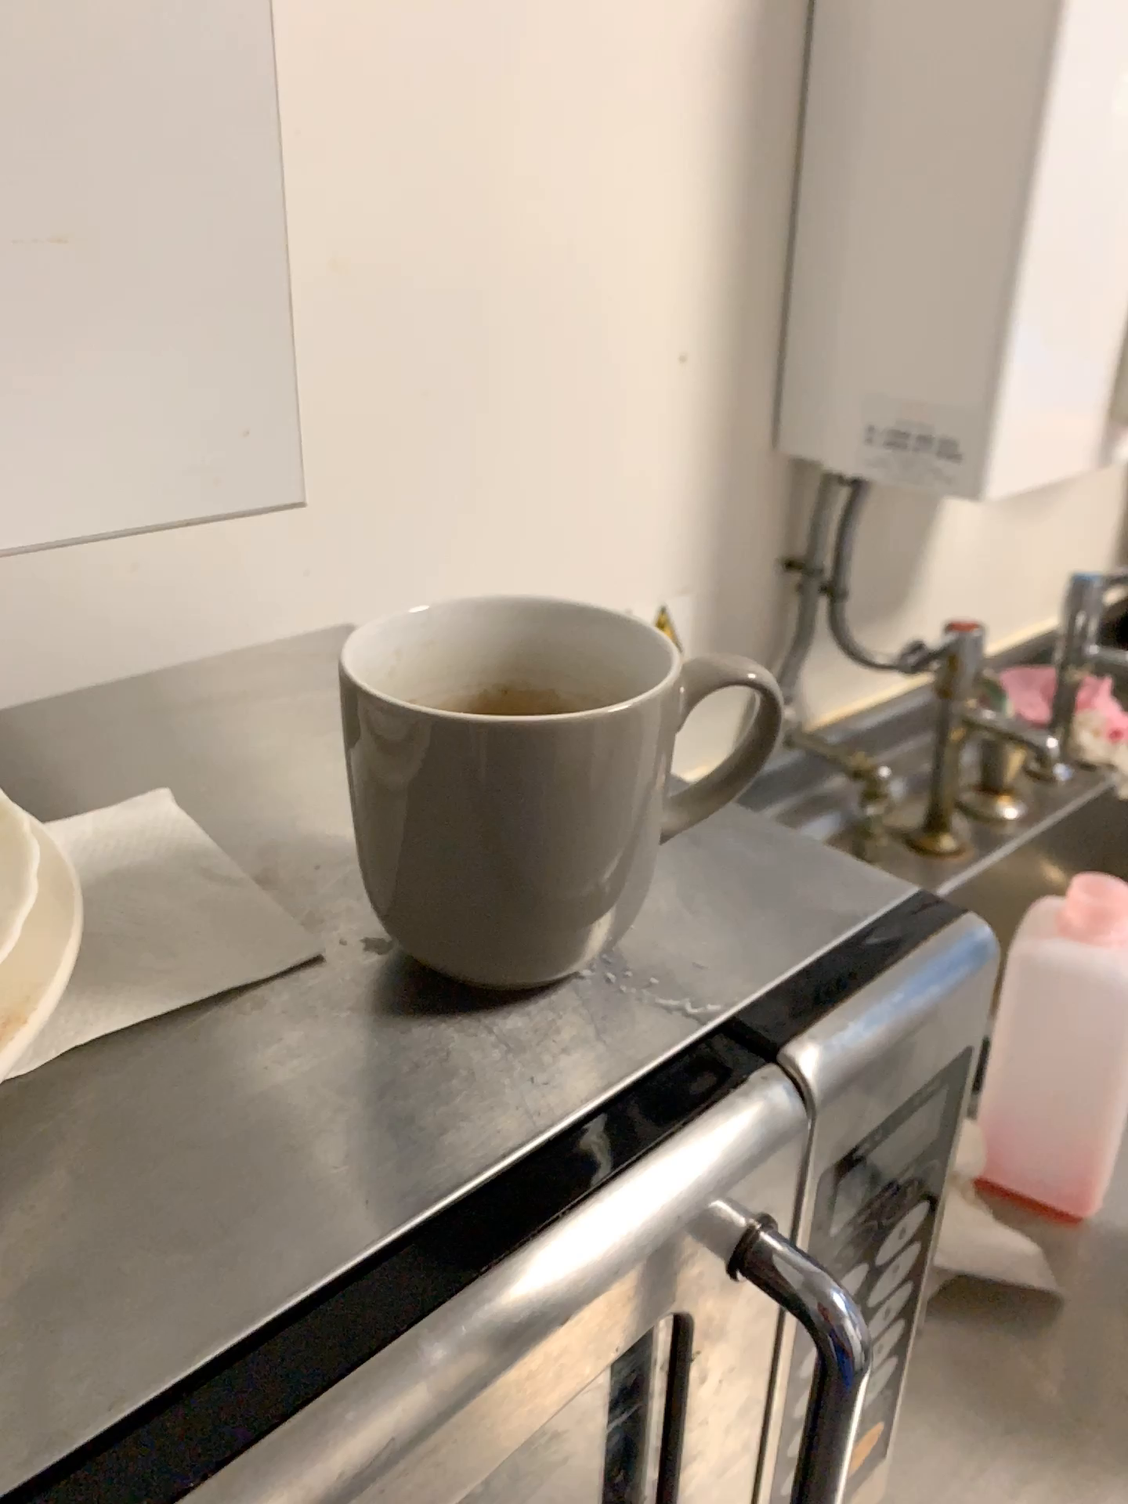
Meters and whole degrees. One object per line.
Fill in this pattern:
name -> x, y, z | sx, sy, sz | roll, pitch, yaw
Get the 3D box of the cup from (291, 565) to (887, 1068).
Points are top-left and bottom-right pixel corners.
cup -> 0.002, 0.007, 0.324 | 0.124, 0.079, 0.102 | -11, 28, -24
